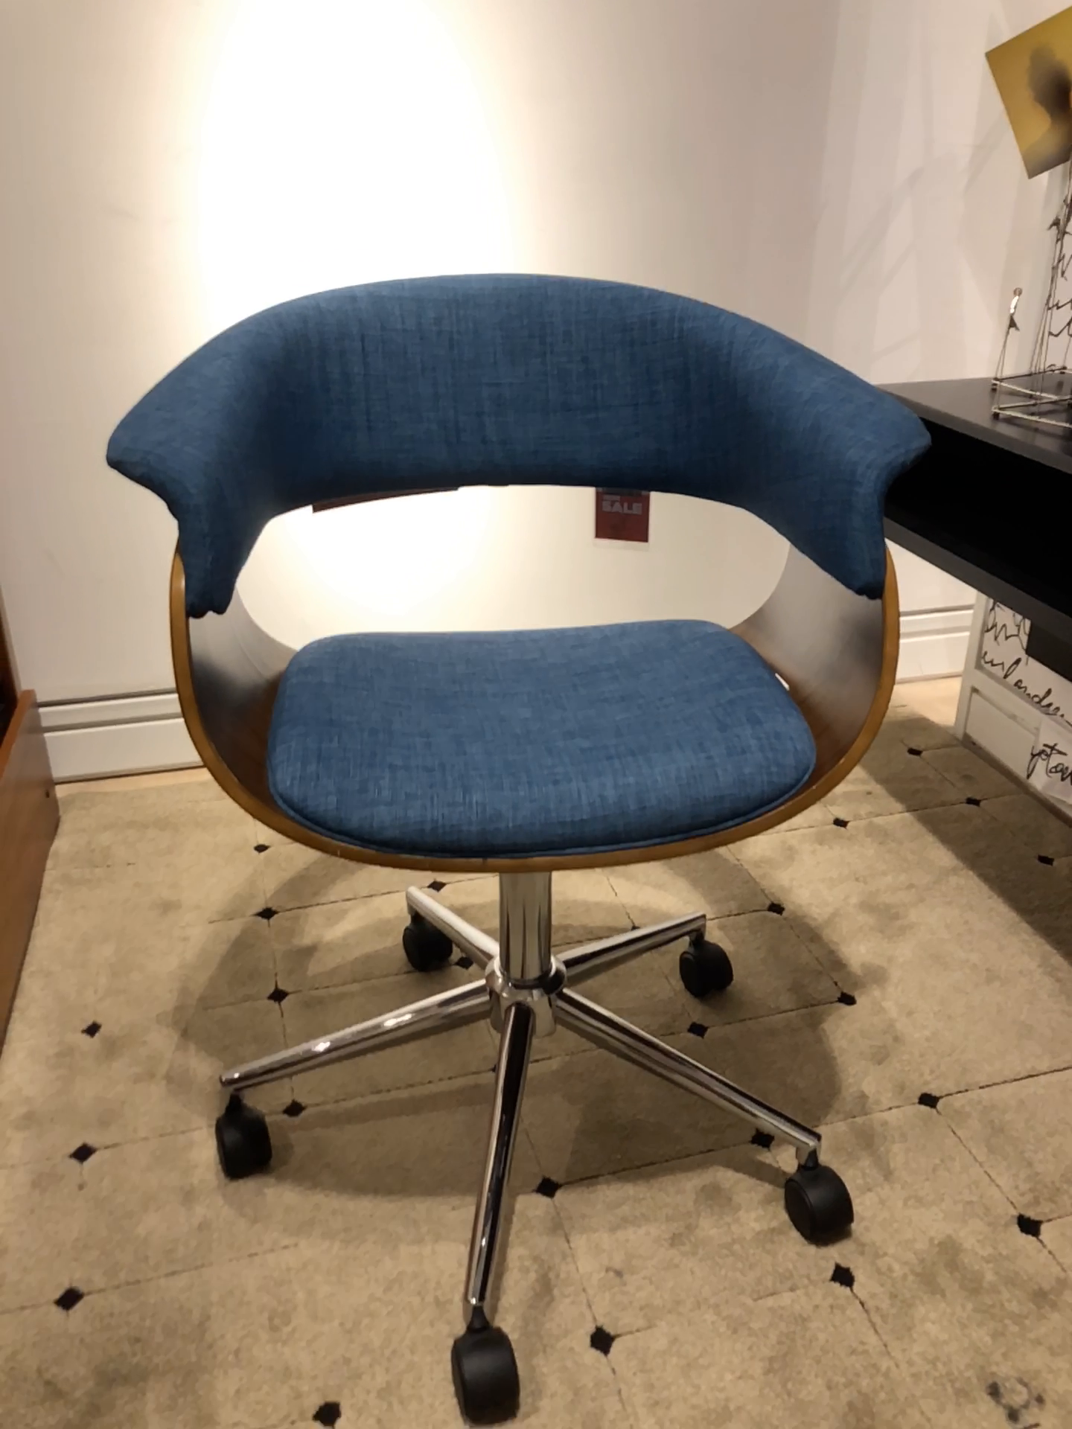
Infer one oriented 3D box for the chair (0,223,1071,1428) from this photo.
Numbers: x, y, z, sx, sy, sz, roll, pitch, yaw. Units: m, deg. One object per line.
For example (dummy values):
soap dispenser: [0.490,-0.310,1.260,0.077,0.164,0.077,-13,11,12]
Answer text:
chair: [-0.020,0.020,1.015,0.610,0.774,0.675,-5,26,-11]
